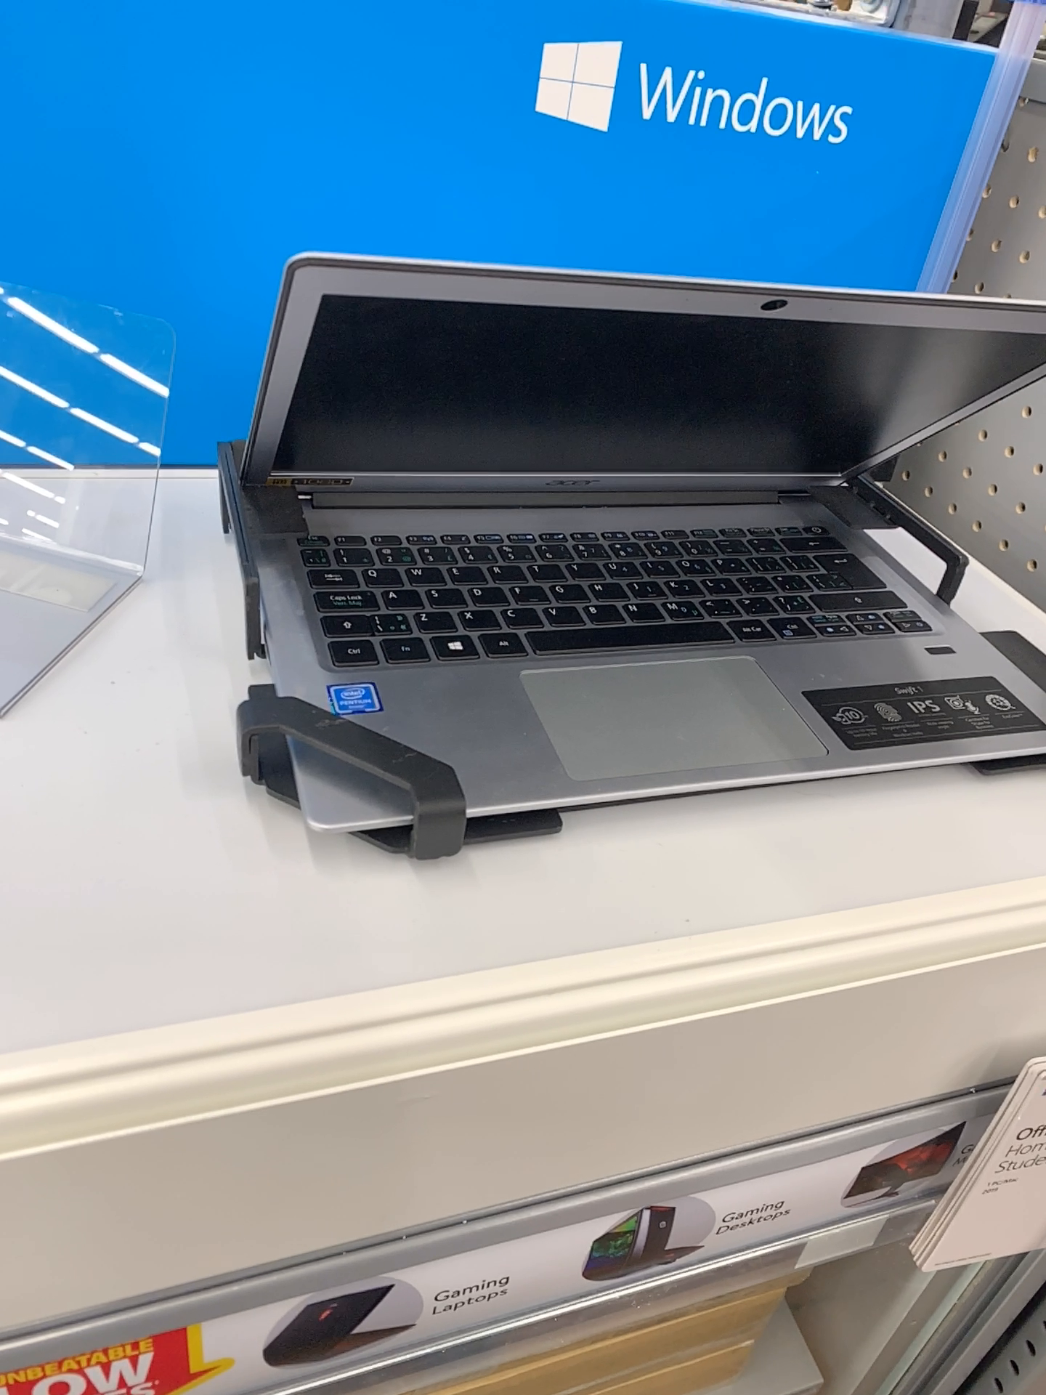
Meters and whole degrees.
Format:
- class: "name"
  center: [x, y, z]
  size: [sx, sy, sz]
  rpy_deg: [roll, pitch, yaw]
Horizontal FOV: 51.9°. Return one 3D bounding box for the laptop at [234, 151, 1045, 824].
- class: "laptop"
  center: [0.060, -0.093, 0.408]
  size: [0.305, 0.141, 0.214]
  rpy_deg: [-4, 37, -19]
